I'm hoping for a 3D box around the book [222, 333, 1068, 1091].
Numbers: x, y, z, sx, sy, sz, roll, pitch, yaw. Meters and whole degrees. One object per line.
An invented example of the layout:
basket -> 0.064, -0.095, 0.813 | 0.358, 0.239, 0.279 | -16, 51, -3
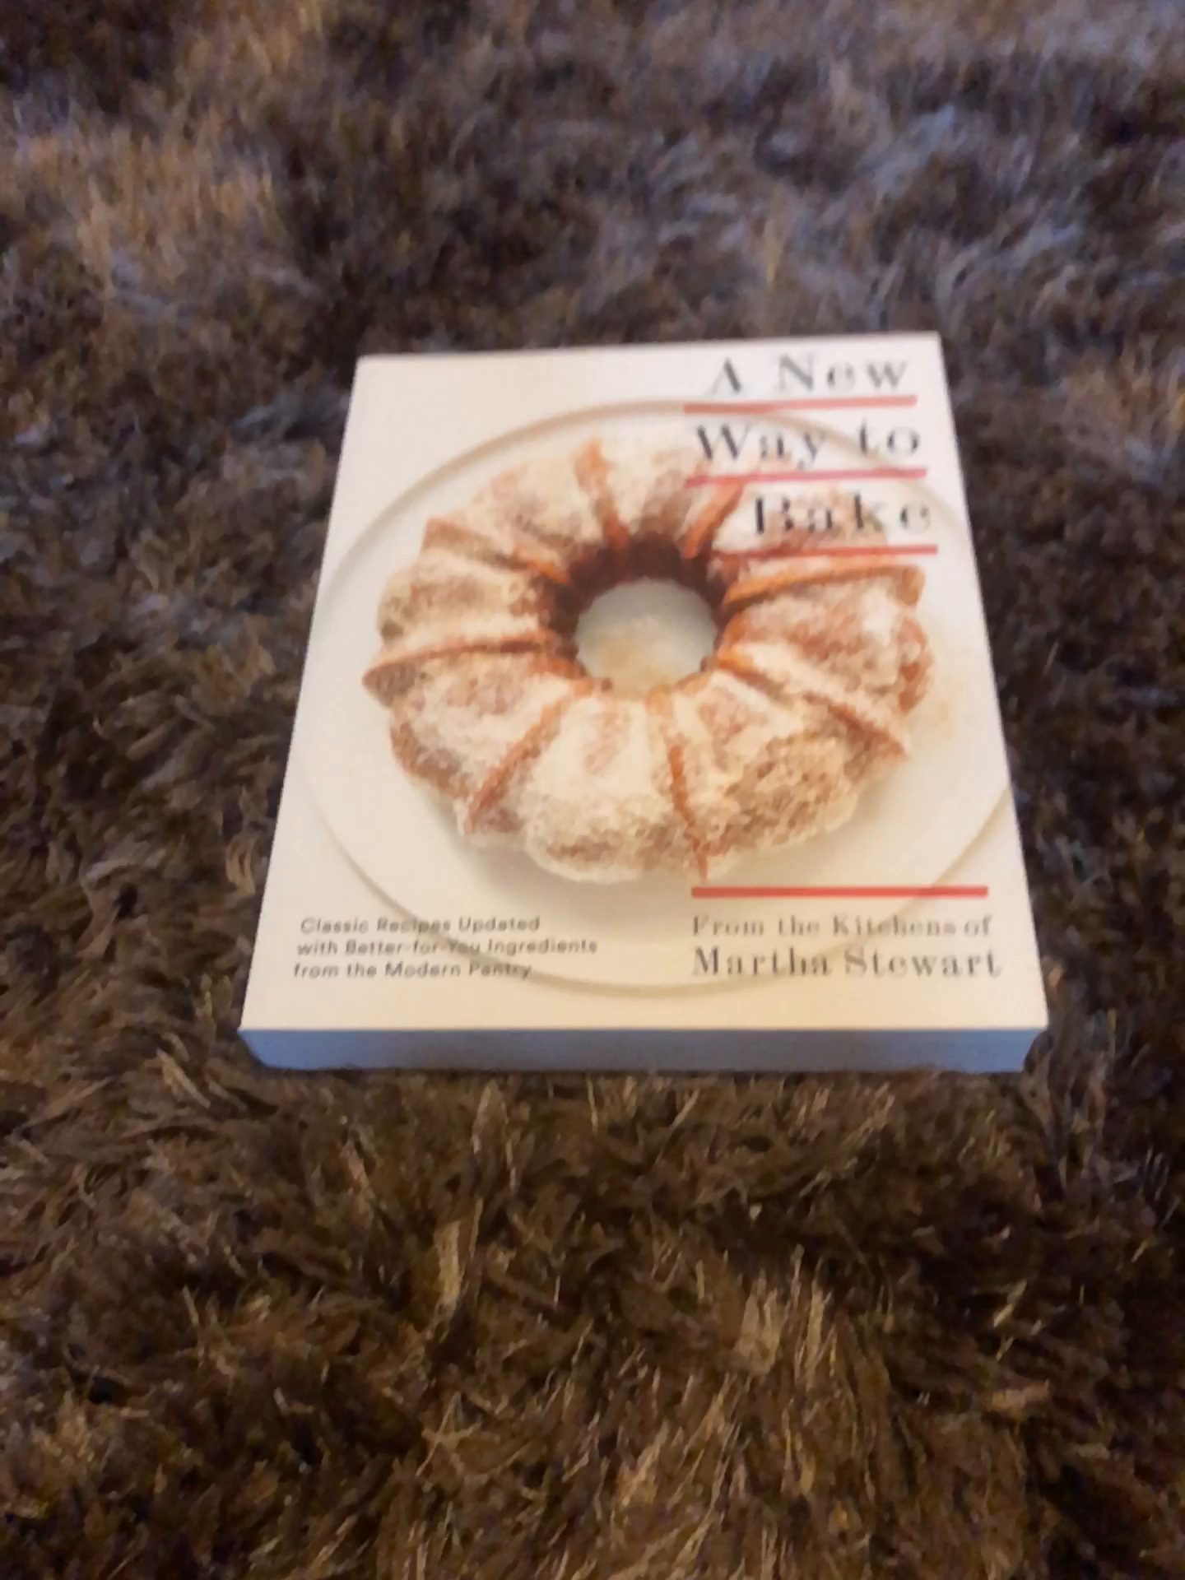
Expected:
book -> 0.013, -0.033, 0.378 | 0.192, 0.040, 0.230 | -1, 58, 4
